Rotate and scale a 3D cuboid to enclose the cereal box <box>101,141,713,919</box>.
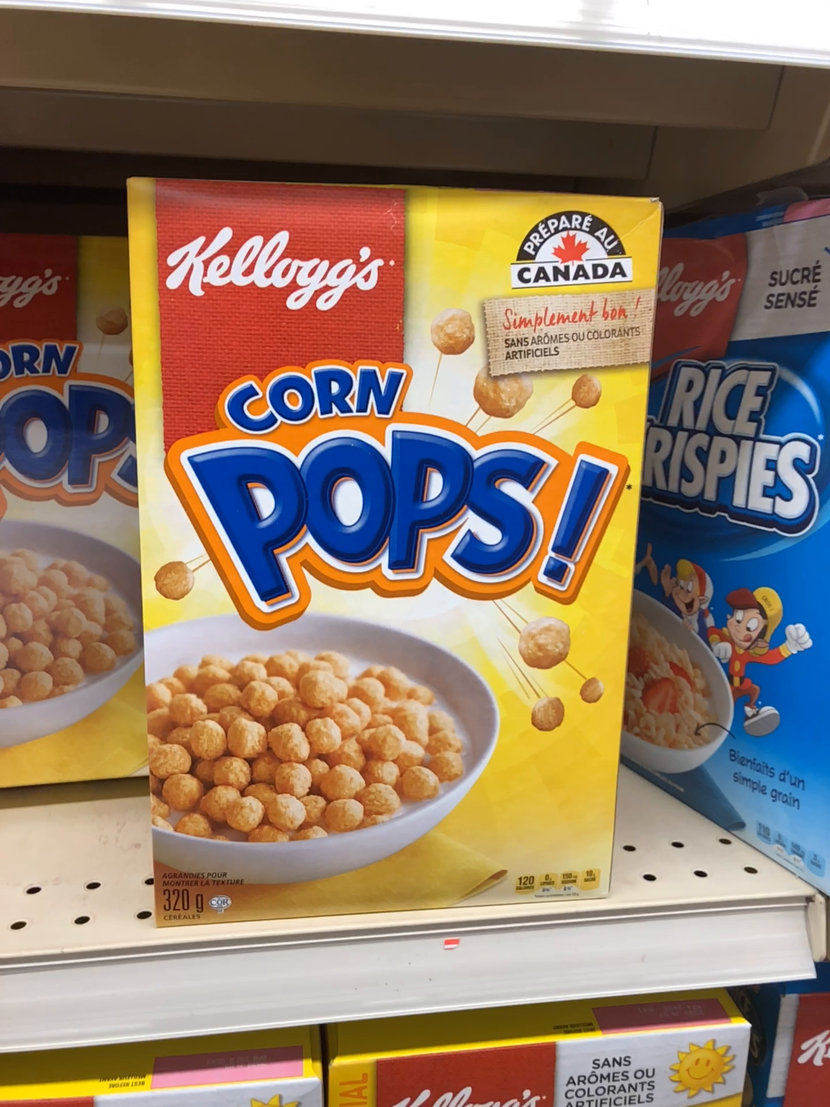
[{"bbox_3d":[-0.005,-0.003,0.376,0.210,0.289,0.060,0,14,-7],"label":"cereal box"}]
